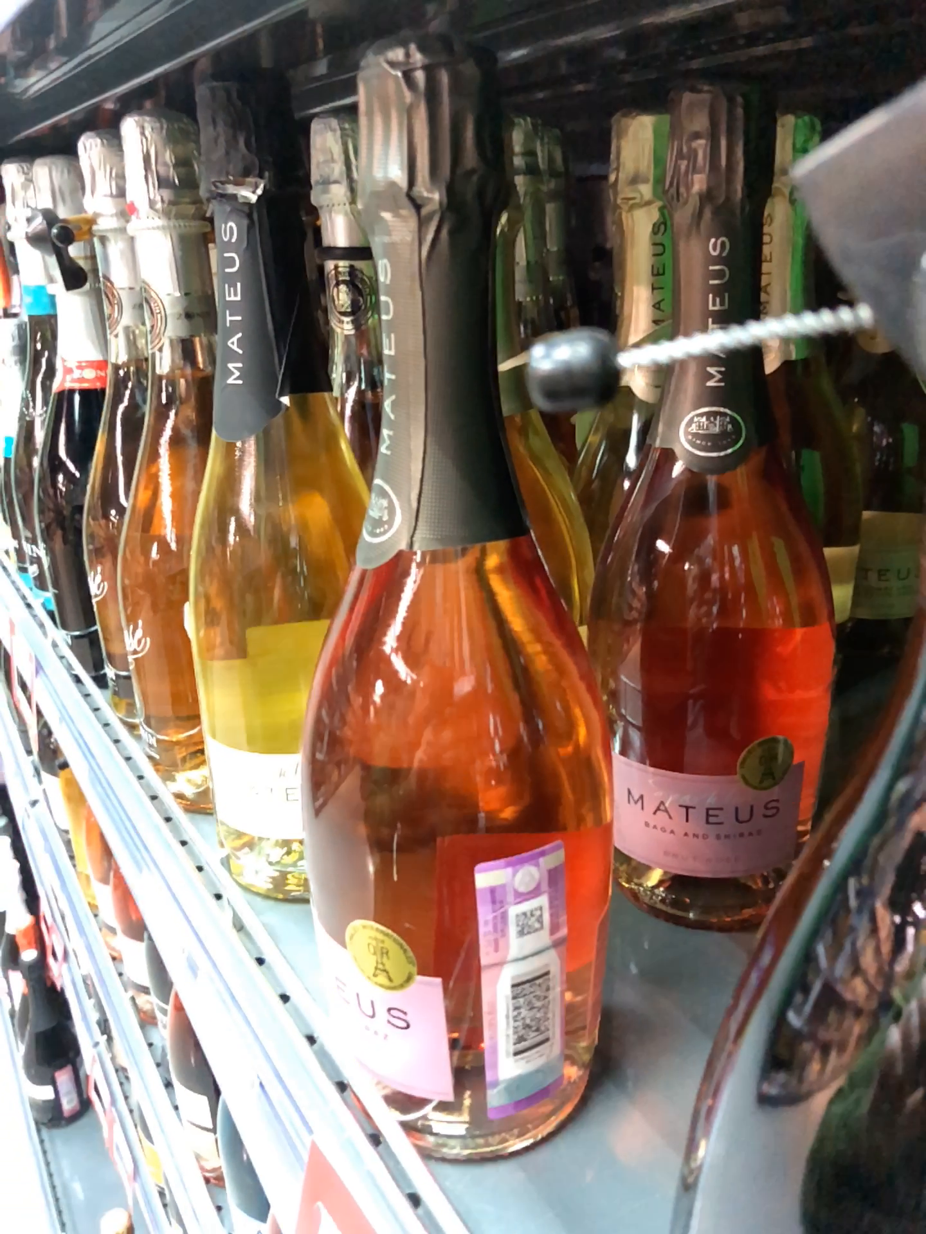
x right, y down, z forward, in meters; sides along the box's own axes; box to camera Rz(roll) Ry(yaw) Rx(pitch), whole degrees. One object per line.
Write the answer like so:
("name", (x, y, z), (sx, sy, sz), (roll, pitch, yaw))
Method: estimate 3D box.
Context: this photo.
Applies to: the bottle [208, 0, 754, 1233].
("bottle", (0.005, 0.008, 0.296), (0.090, 0.319, 0.100), (-14, 23, -29))
